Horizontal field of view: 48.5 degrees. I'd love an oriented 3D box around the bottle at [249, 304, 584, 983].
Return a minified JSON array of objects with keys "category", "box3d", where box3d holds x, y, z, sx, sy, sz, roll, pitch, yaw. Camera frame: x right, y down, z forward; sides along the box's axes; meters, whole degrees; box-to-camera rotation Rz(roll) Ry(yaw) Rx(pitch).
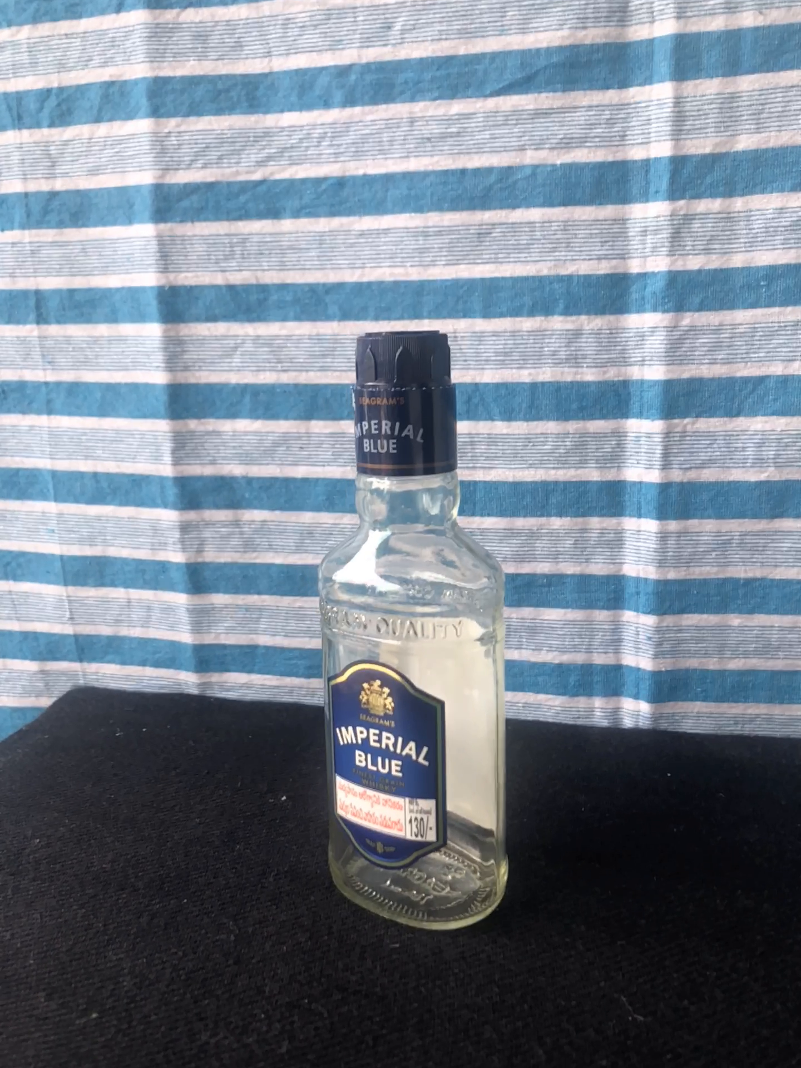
[{"category":"bottle","box3d":[0.005,0.024,0.248,0.070,0.169,0.050,8,16,30]}]
